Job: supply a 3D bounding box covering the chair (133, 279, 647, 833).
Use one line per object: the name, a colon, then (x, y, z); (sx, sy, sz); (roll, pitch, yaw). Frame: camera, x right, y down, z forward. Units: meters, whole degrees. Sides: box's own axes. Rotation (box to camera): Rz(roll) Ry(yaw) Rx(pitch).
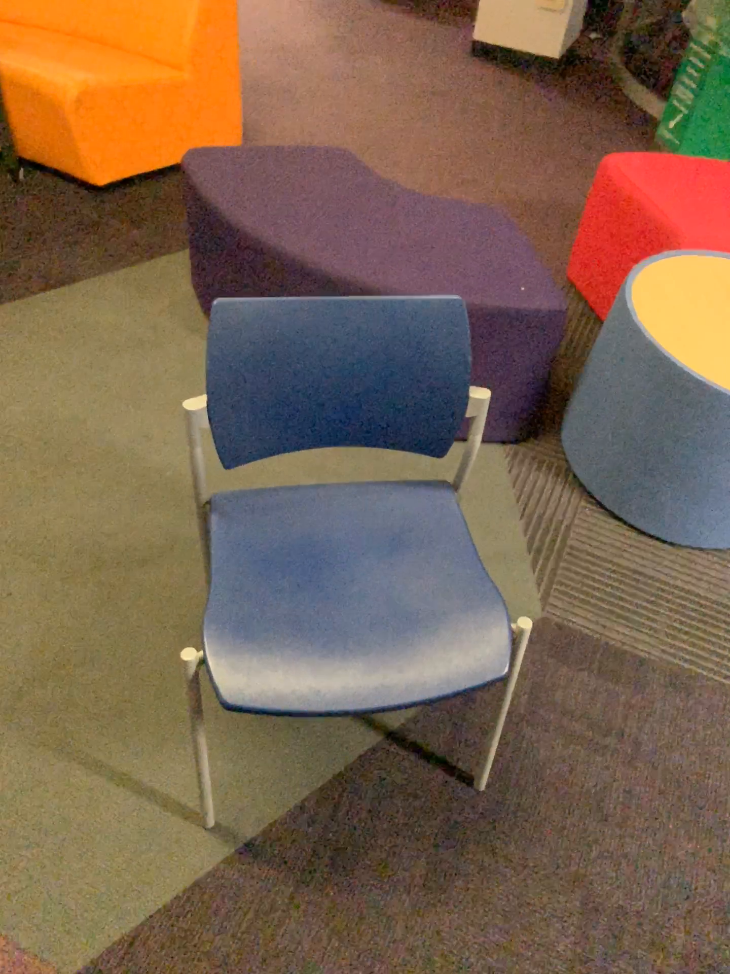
chair: (-0.027, 0.120, 1.247); (0.560, 0.694, 0.575); (-3, 47, -9)
